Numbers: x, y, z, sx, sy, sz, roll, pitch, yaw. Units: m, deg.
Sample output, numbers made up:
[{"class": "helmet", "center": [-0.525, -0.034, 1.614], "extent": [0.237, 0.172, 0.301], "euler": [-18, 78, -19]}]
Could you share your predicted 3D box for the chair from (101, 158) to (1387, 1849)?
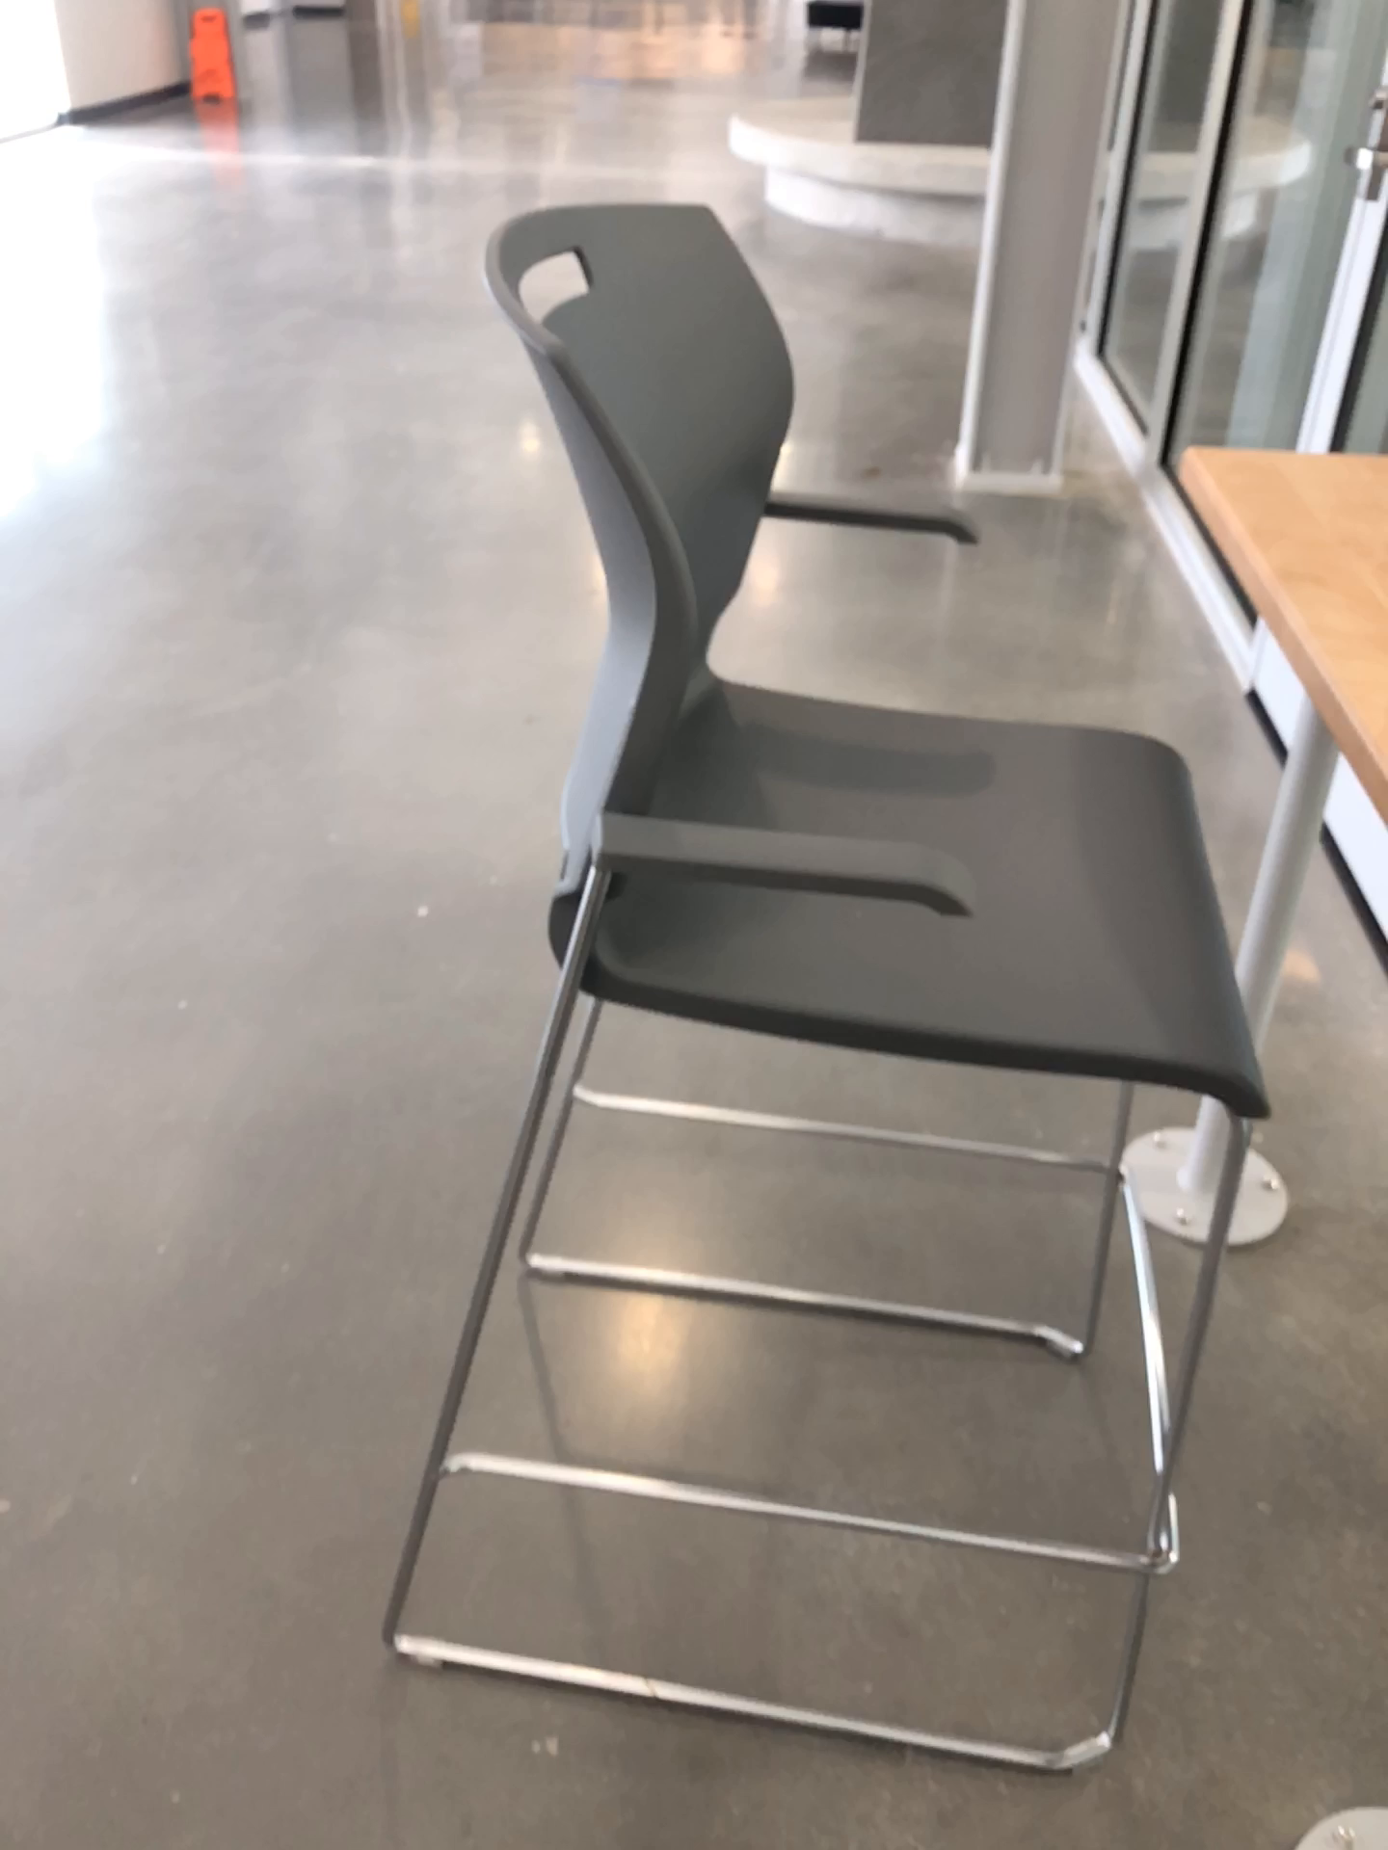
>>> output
[{"class": "chair", "center": [0.099, 0.065, 1.161], "extent": [0.660, 1.073, 0.604], "euler": [5, 33, 6]}]
